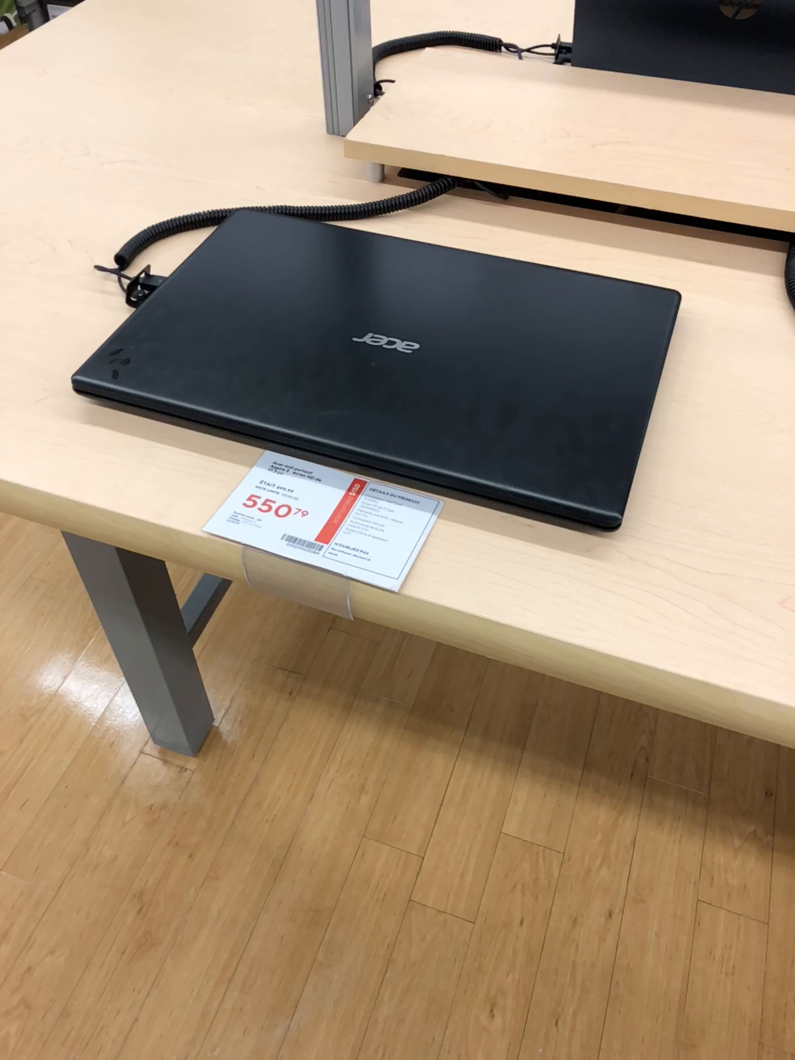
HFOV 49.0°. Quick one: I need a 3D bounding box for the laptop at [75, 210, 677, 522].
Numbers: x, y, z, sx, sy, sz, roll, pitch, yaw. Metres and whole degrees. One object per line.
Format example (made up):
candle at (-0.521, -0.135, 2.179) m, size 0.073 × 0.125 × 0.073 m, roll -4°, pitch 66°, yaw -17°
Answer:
laptop at (-0.006, -0.155, 0.695) m, size 0.416 × 0.001 × 0.268 m, roll 16°, pitch 50°, yaw 14°
